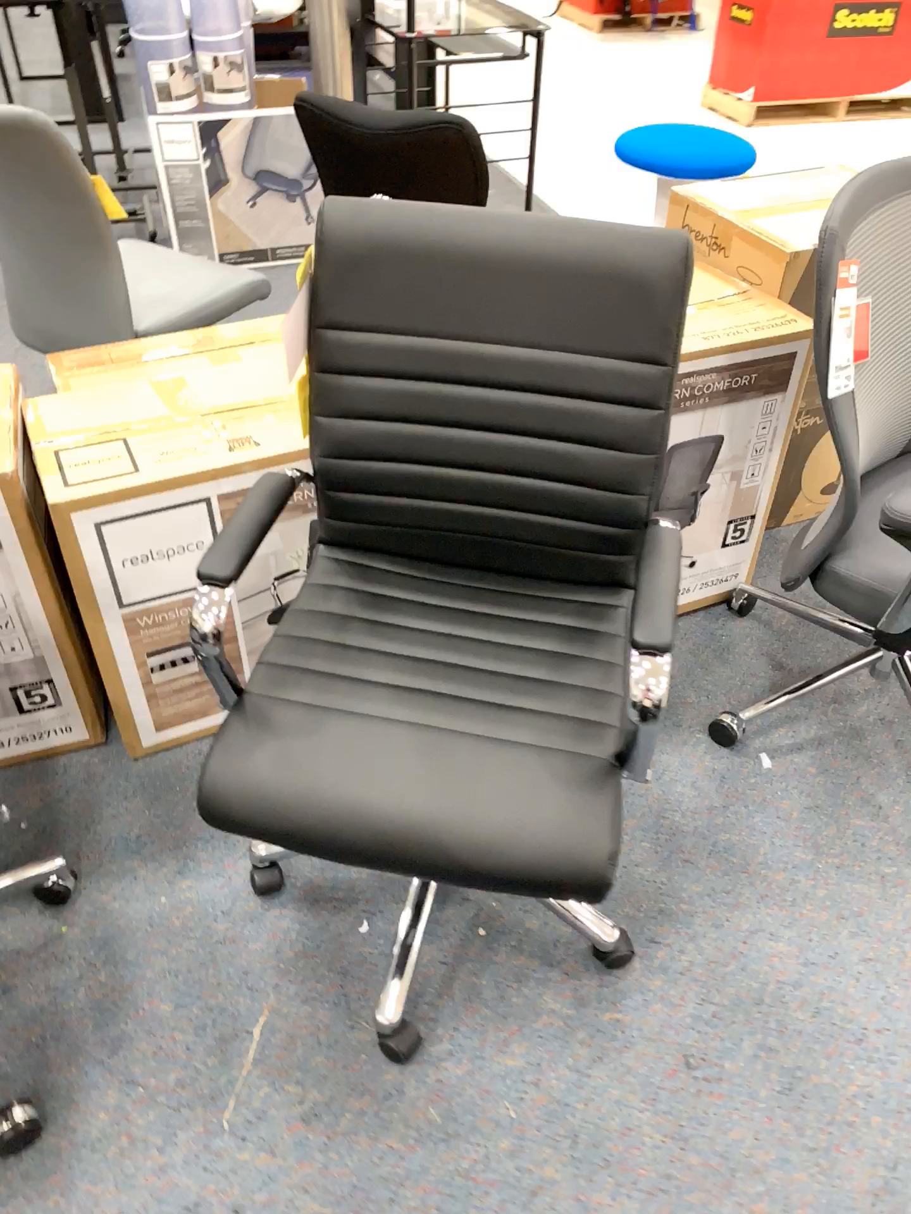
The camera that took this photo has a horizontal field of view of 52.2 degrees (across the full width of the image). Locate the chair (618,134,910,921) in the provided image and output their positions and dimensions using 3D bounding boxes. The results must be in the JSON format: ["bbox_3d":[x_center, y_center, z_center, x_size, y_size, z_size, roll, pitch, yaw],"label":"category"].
[{"bbox_3d":[0.836,-0.177,1.557,0.721,0.874,0.736,30,48,28],"label":"chair"}]

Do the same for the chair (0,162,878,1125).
[{"bbox_3d":[0.014,0.057,1.196,0.654,0.953,0.652,10,42,9],"label":"chair"}]
